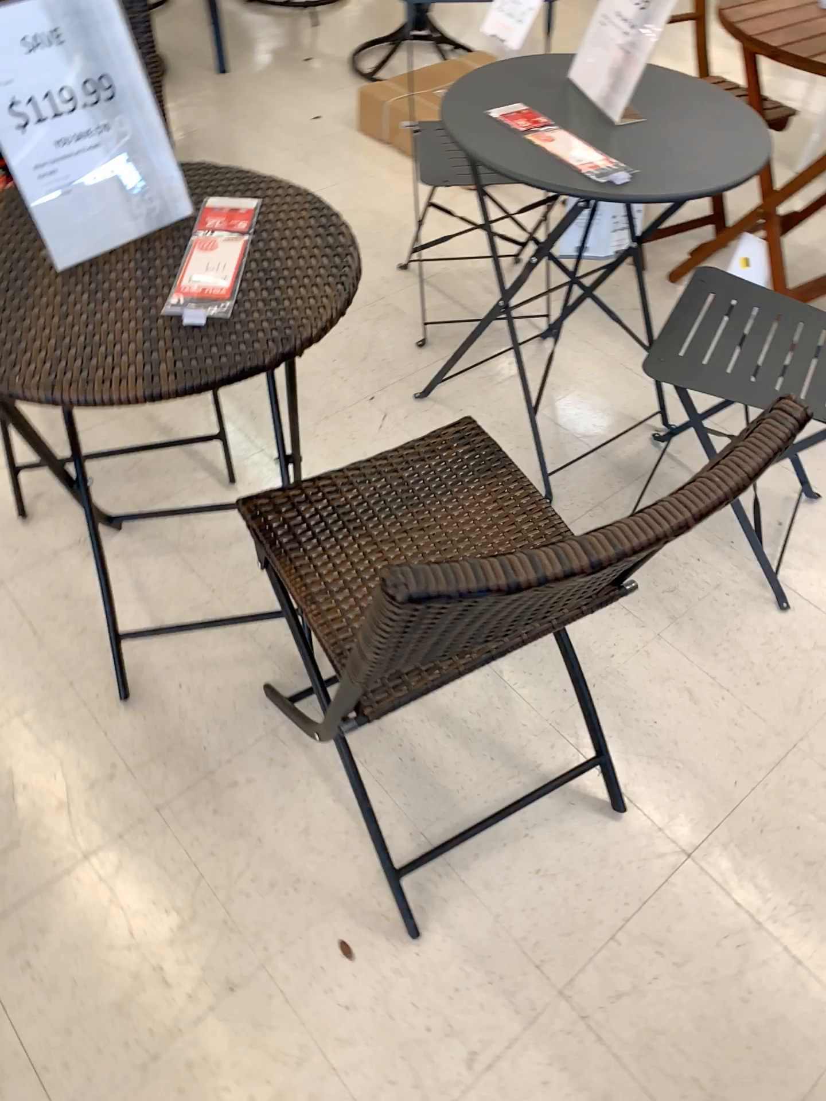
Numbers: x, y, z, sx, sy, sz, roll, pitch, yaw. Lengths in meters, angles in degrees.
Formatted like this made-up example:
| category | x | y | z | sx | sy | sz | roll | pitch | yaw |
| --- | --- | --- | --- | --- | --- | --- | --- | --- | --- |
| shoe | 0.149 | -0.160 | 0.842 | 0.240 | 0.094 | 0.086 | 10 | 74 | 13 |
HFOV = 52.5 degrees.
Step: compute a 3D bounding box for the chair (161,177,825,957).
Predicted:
| category | x | y | z | sx | sy | sz | roll | pitch | yaw |
| --- | --- | --- | --- | --- | --- | --- | --- | --- | --- |
| chair | 0.067 | 0.052 | 1.088 | 0.481 | 0.766 | 0.512 | -23 | 54 | -20 |
